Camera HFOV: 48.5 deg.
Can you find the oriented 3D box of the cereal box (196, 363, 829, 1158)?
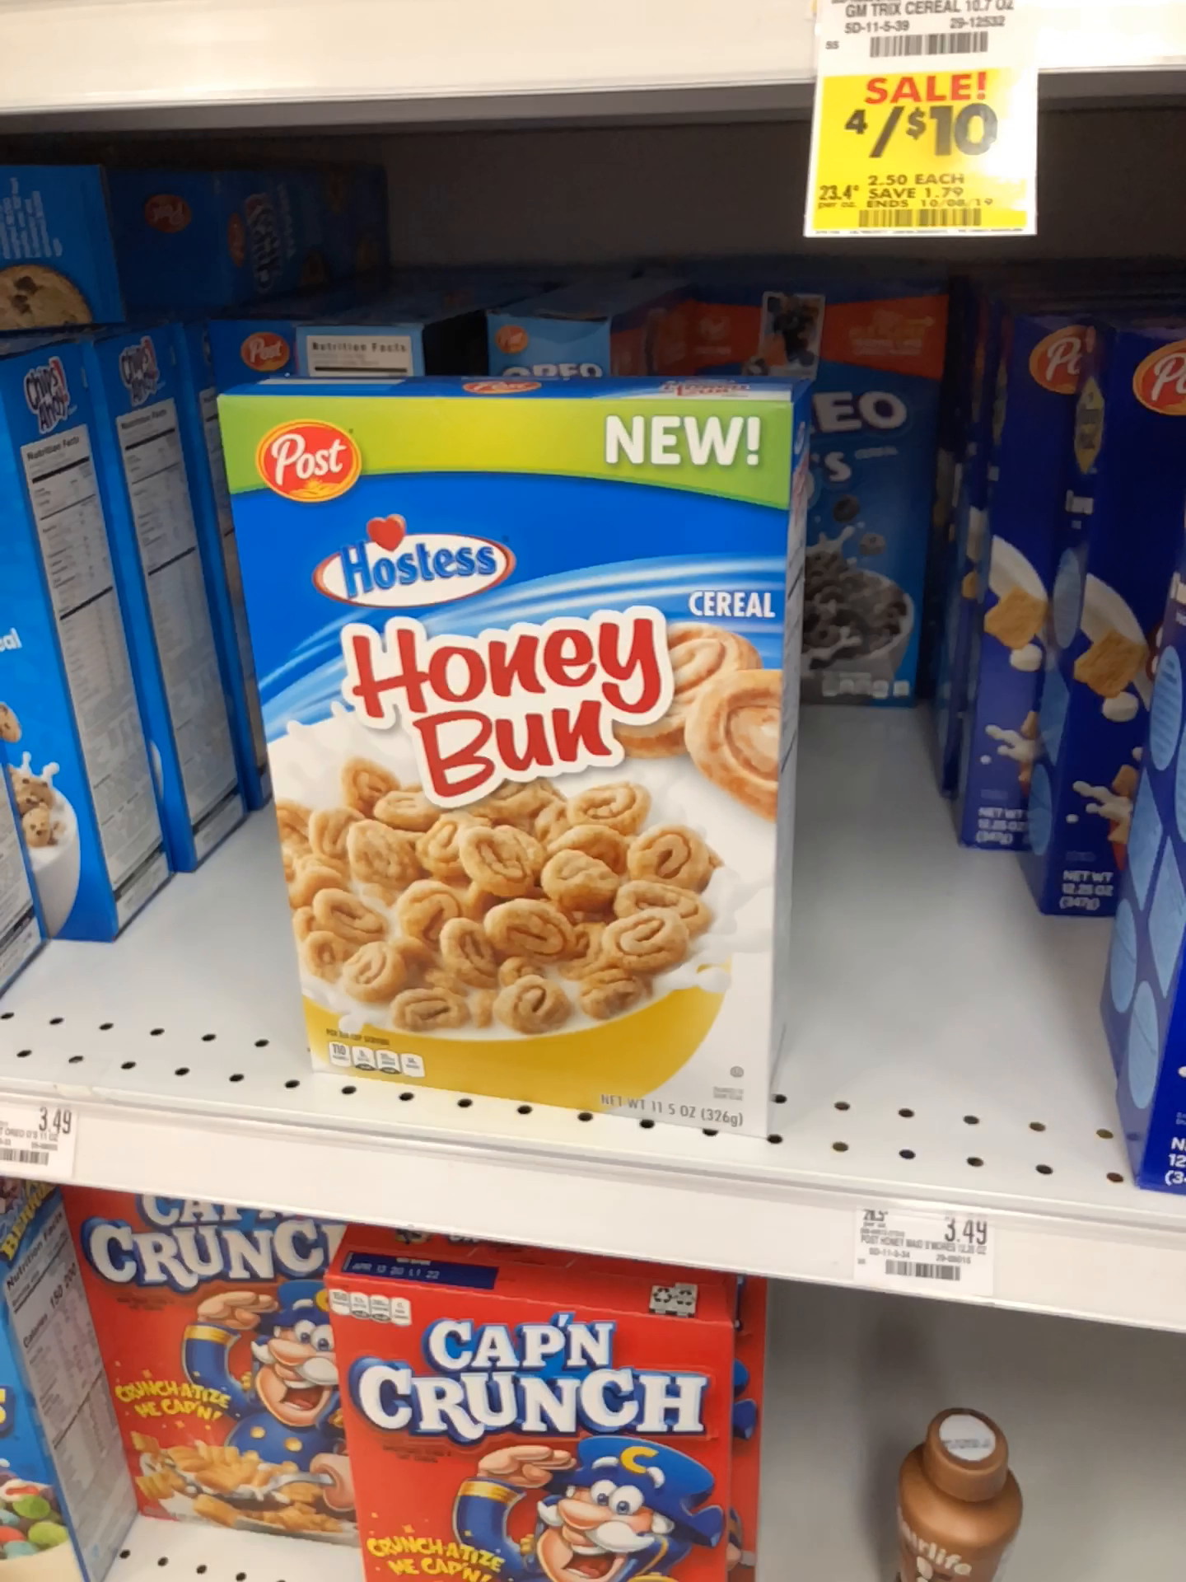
[{"bbox_3d":[-0.025,-0.012,0.516,0.210,0.289,0.070,5,23,13],"label":"cereal box"}]
